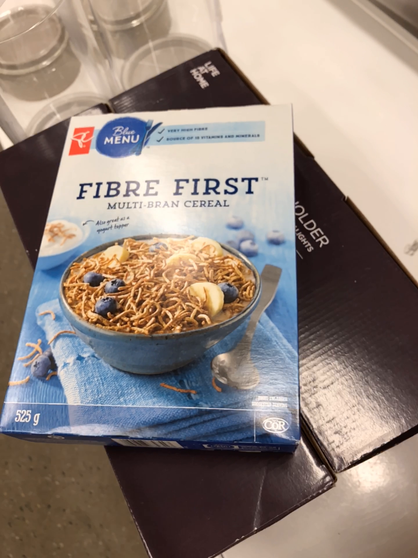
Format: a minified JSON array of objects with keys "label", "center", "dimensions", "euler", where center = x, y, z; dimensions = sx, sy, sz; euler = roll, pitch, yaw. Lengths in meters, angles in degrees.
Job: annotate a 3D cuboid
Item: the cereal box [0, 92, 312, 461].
[{"label":"cereal box","center":[-0.033,-0.011,0.346],"dimensions":[0.200,0.060,0.260],"euler":[0,66,8]}]
